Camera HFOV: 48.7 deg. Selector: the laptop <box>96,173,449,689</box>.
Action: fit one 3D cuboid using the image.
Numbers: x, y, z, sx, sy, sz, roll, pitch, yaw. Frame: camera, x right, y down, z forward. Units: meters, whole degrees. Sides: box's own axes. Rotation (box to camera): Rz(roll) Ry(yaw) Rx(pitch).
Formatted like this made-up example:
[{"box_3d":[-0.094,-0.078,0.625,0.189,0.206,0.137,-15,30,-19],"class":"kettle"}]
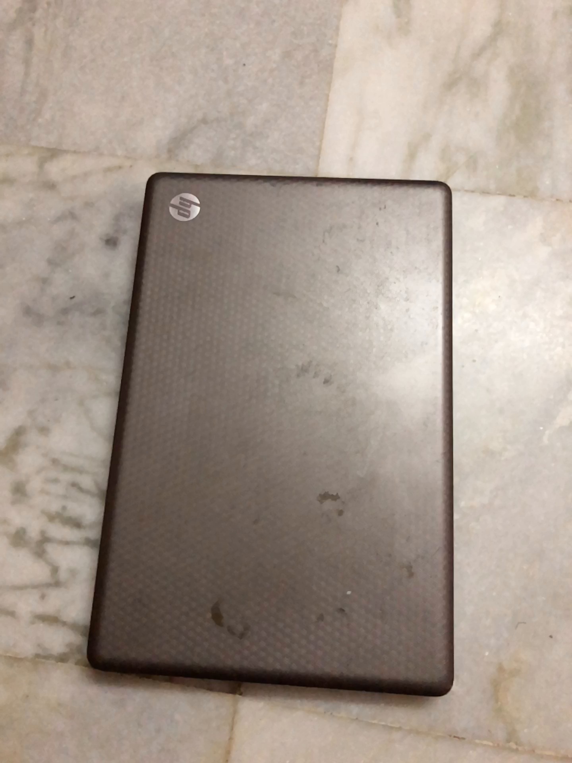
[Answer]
[{"box_3d":[0.000,0.018,0.497,0.252,0.003,0.394,3,76,3],"class":"laptop"}]
